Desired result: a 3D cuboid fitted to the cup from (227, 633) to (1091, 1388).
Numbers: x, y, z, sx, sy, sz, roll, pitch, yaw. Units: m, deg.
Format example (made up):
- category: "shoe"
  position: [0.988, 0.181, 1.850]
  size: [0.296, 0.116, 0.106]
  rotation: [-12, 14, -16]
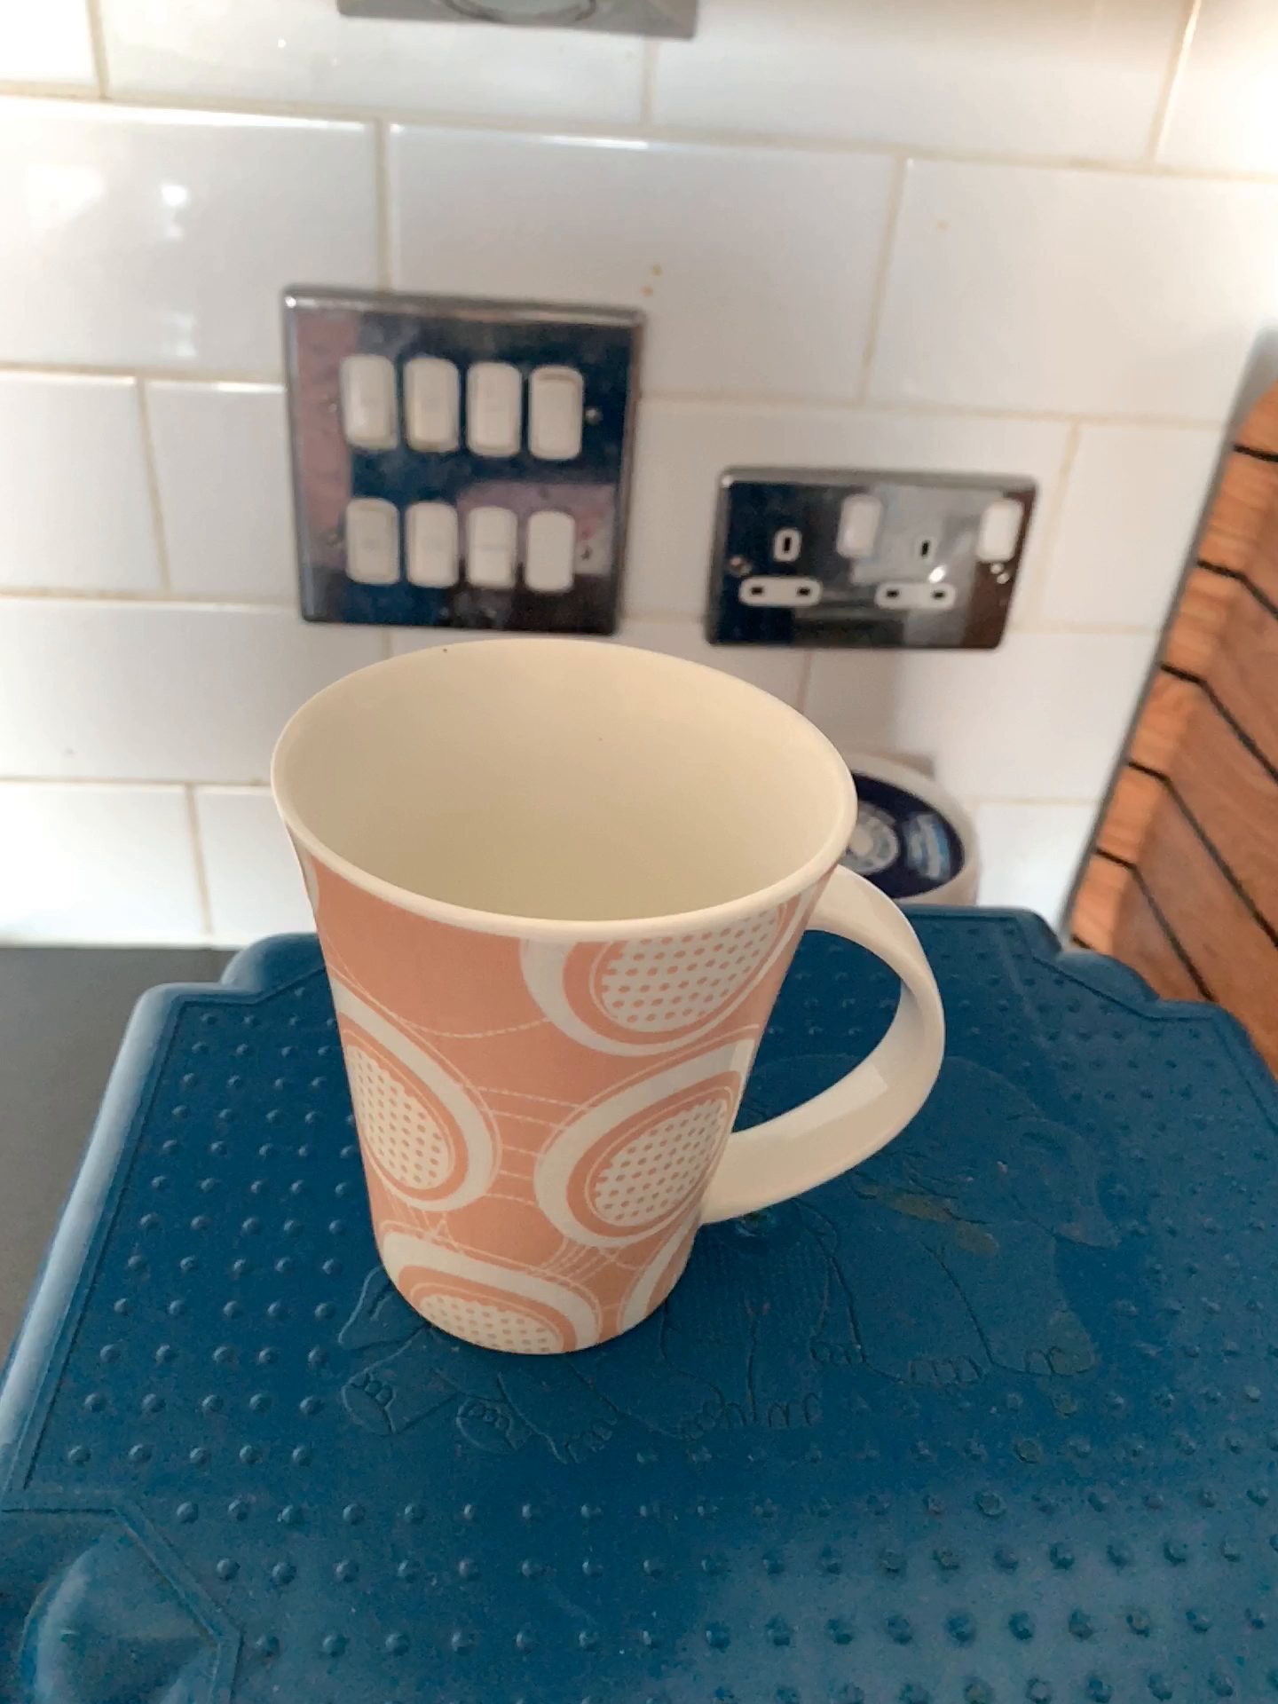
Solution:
- category: "cup"
  position: [-0.002, 0.028, 0.238]
  size: [0.116, 0.105, 0.078]
  rotation: [1, 35, -6]
